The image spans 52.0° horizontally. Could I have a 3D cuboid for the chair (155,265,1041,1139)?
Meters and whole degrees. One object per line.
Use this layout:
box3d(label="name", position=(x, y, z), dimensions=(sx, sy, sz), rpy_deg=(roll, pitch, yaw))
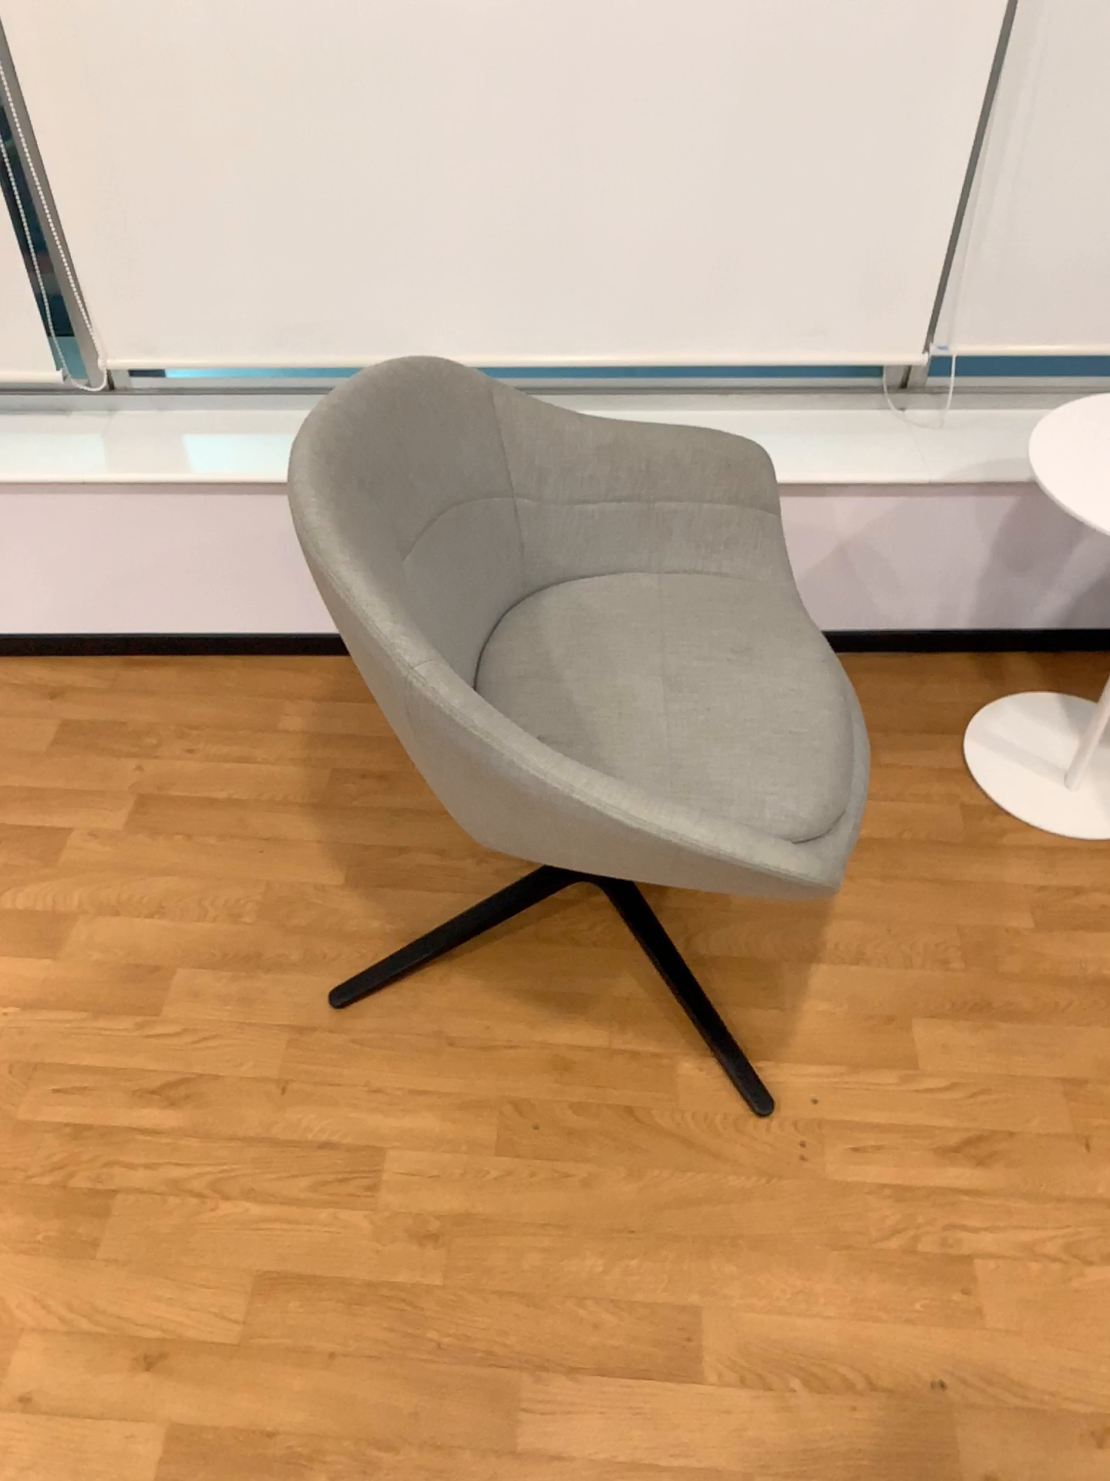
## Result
box3d(label="chair", position=(0.051, -0.044, 1.376), dimensions=(0.680, 0.754, 0.675), rpy_deg=(4, 45, 3))
